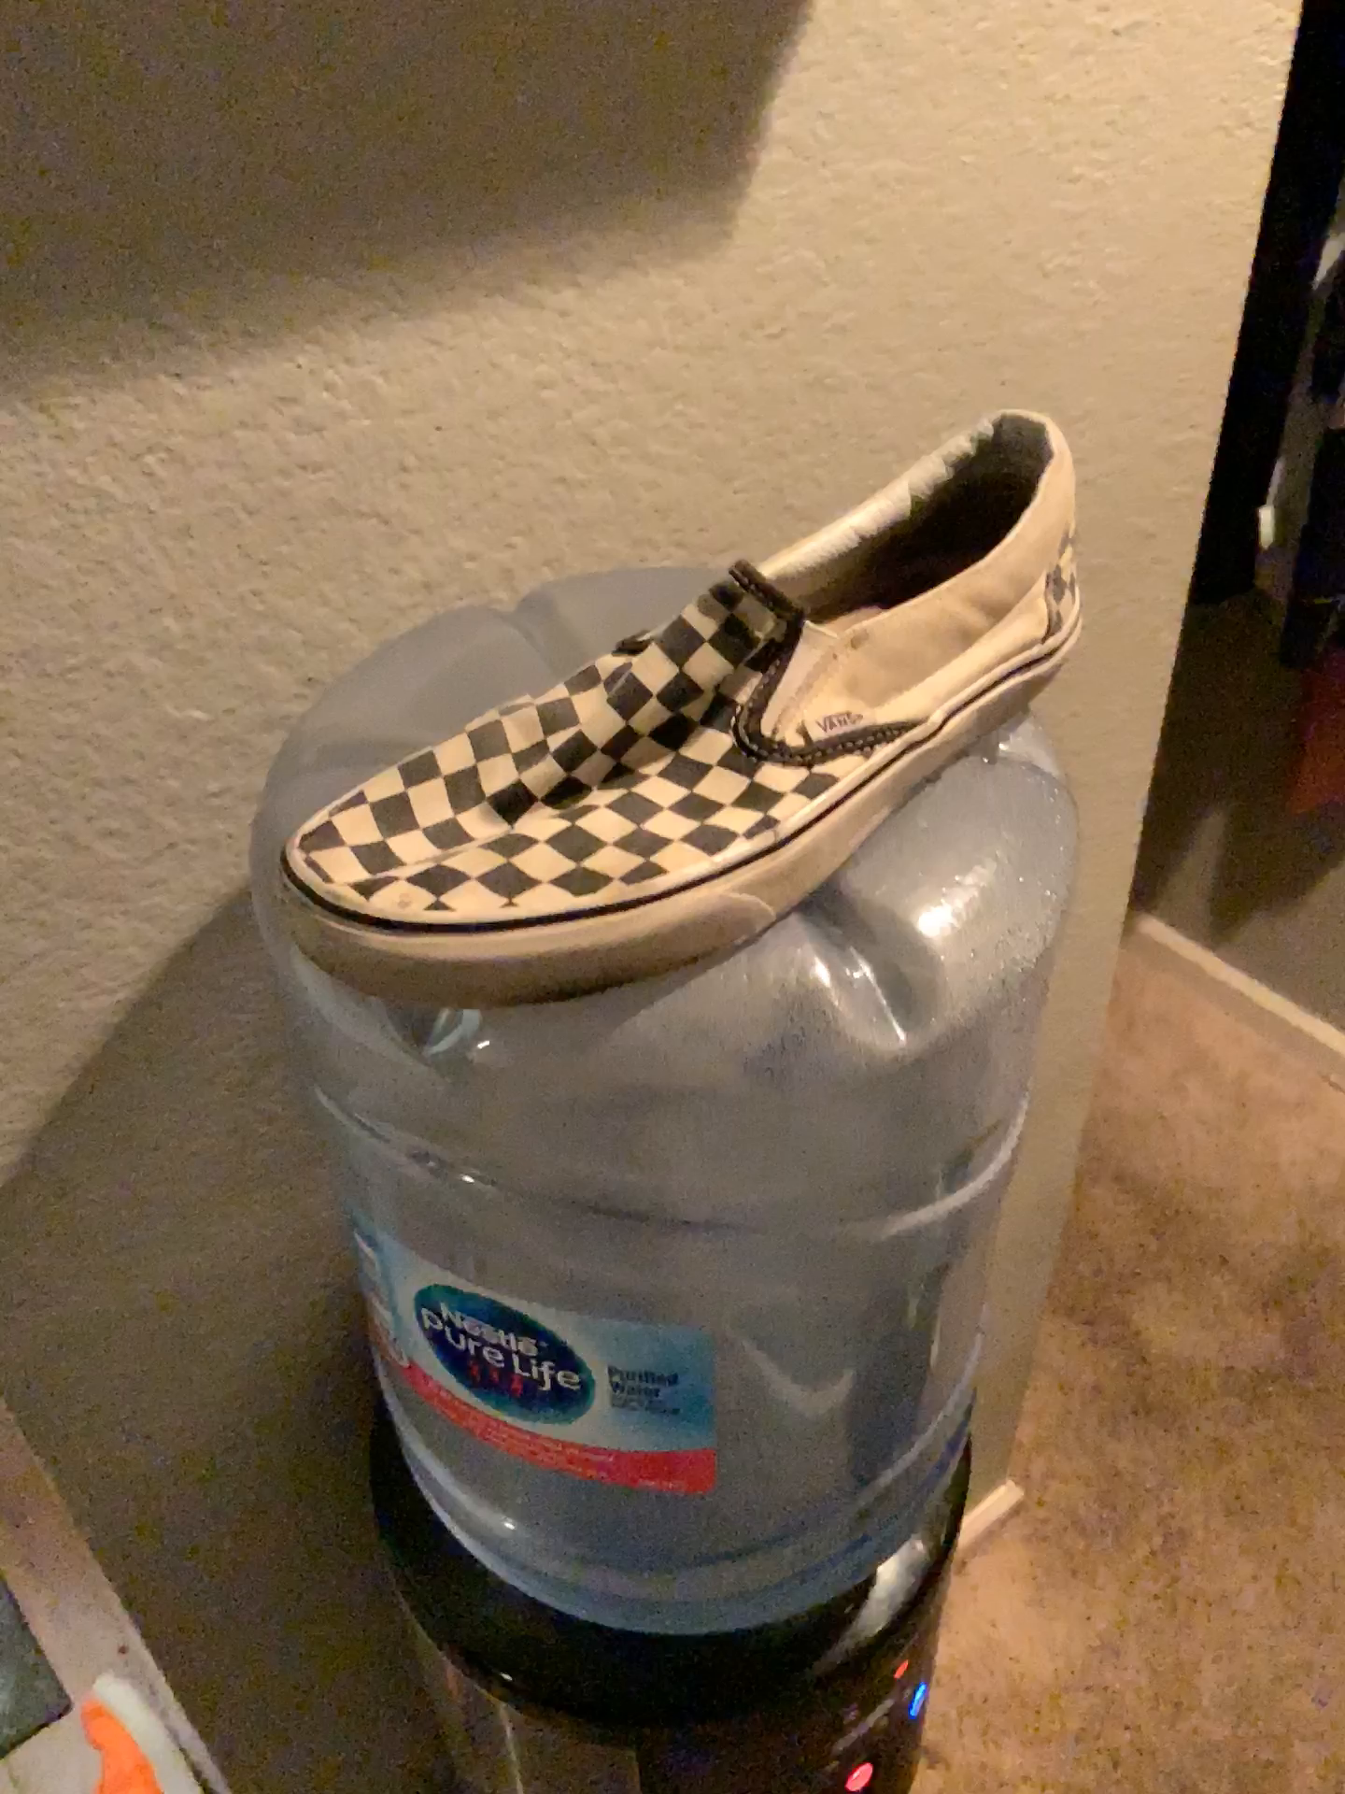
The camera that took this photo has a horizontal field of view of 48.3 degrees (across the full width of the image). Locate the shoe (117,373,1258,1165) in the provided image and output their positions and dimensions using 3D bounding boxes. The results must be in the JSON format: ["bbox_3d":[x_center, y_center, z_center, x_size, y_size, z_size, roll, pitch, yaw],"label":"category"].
[{"bbox_3d":[0.012,-0.056,0.425,0.280,0.080,0.130,-25,45,-25],"label":"shoe"}]
